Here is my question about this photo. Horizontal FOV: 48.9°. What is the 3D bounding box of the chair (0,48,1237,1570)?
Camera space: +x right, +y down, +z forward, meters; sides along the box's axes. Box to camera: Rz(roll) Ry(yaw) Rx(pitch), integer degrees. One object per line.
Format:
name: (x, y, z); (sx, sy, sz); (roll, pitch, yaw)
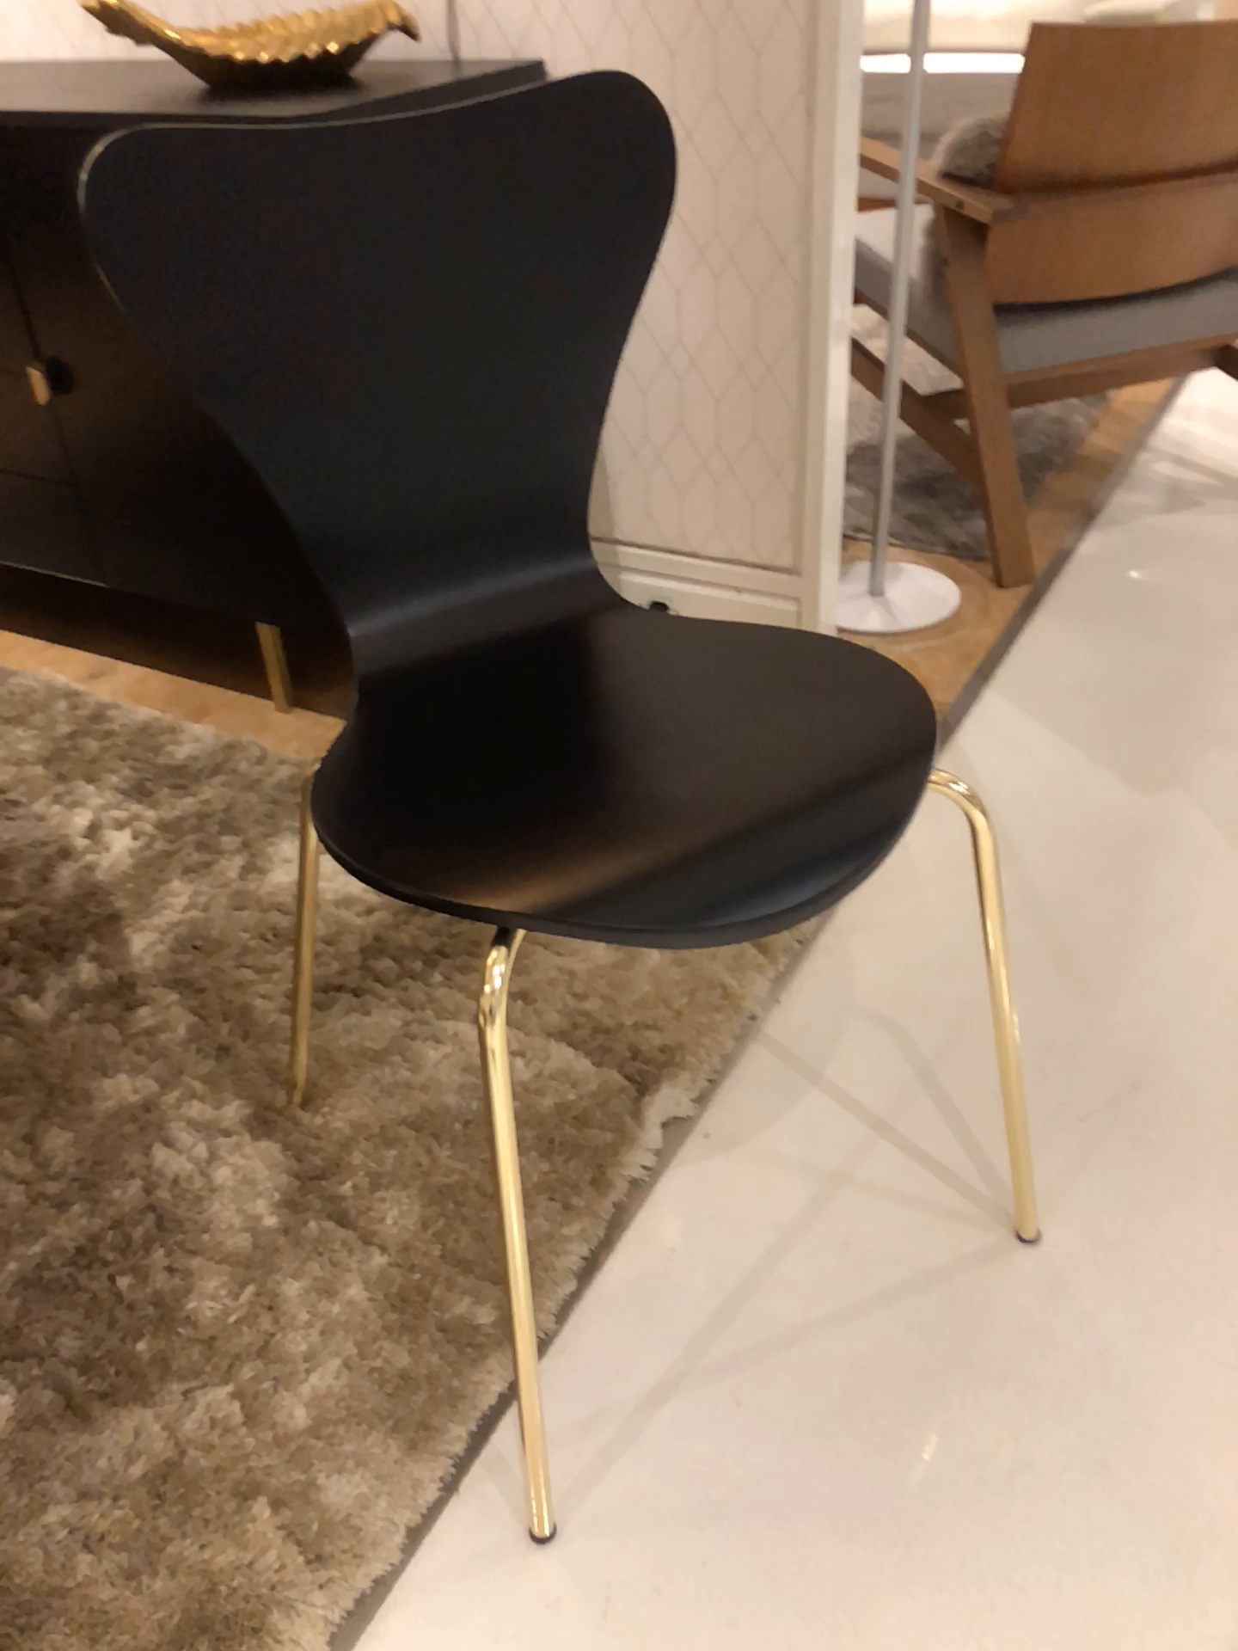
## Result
chair: (0.002, -0.053, 0.912); (0.501, 0.754, 0.503); (-21, 37, -24)
